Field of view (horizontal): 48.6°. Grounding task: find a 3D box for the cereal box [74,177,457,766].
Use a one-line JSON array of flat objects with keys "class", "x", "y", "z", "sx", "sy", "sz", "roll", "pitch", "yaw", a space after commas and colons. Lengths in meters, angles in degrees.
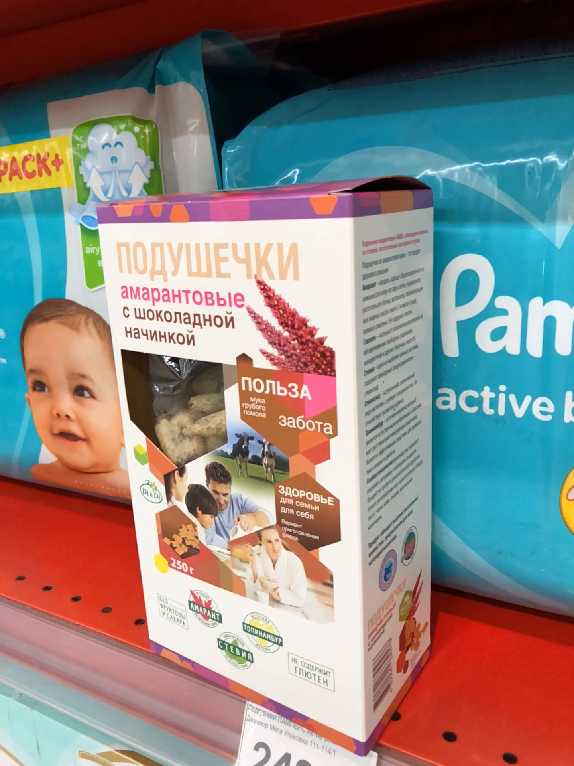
[{"class": "cereal box", "x": -0.006, "y": 0.027, "z": 0.285, "sx": 0.140, "sy": 0.219, "sz": 0.070, "roll": 8, "pitch": 19, "yaw": 34}]
